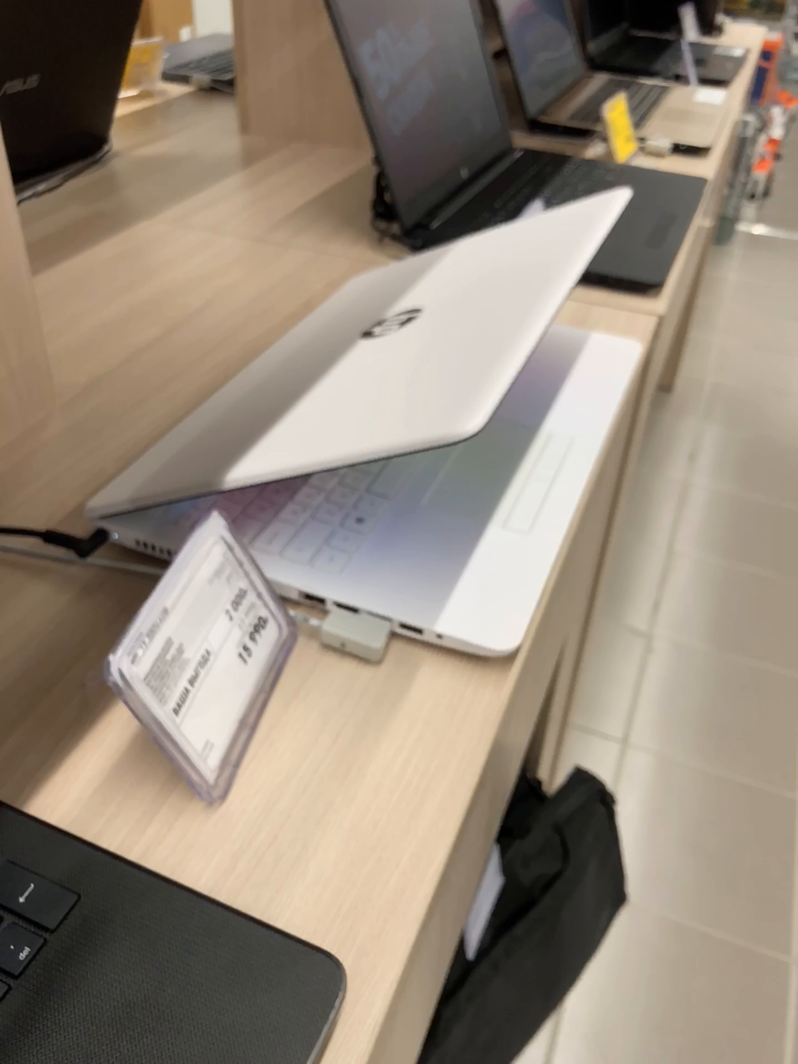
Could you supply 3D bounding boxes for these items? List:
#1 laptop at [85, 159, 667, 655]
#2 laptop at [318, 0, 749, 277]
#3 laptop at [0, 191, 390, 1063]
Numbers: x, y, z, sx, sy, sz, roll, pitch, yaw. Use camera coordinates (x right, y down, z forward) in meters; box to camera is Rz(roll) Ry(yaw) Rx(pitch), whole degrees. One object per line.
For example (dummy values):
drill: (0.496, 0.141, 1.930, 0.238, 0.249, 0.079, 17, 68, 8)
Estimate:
laptop: (0.020, -0.118, 0.572, 0.232, 0.103, 0.370, 17, 39, 14)
laptop: (0.154, -0.464, 0.947, 0.349, 0.219, 0.393, 14, 36, 15)
laptop: (-0.255, 0.124, 0.139, 0.368, 0.203, 0.388, 15, 38, 16)
